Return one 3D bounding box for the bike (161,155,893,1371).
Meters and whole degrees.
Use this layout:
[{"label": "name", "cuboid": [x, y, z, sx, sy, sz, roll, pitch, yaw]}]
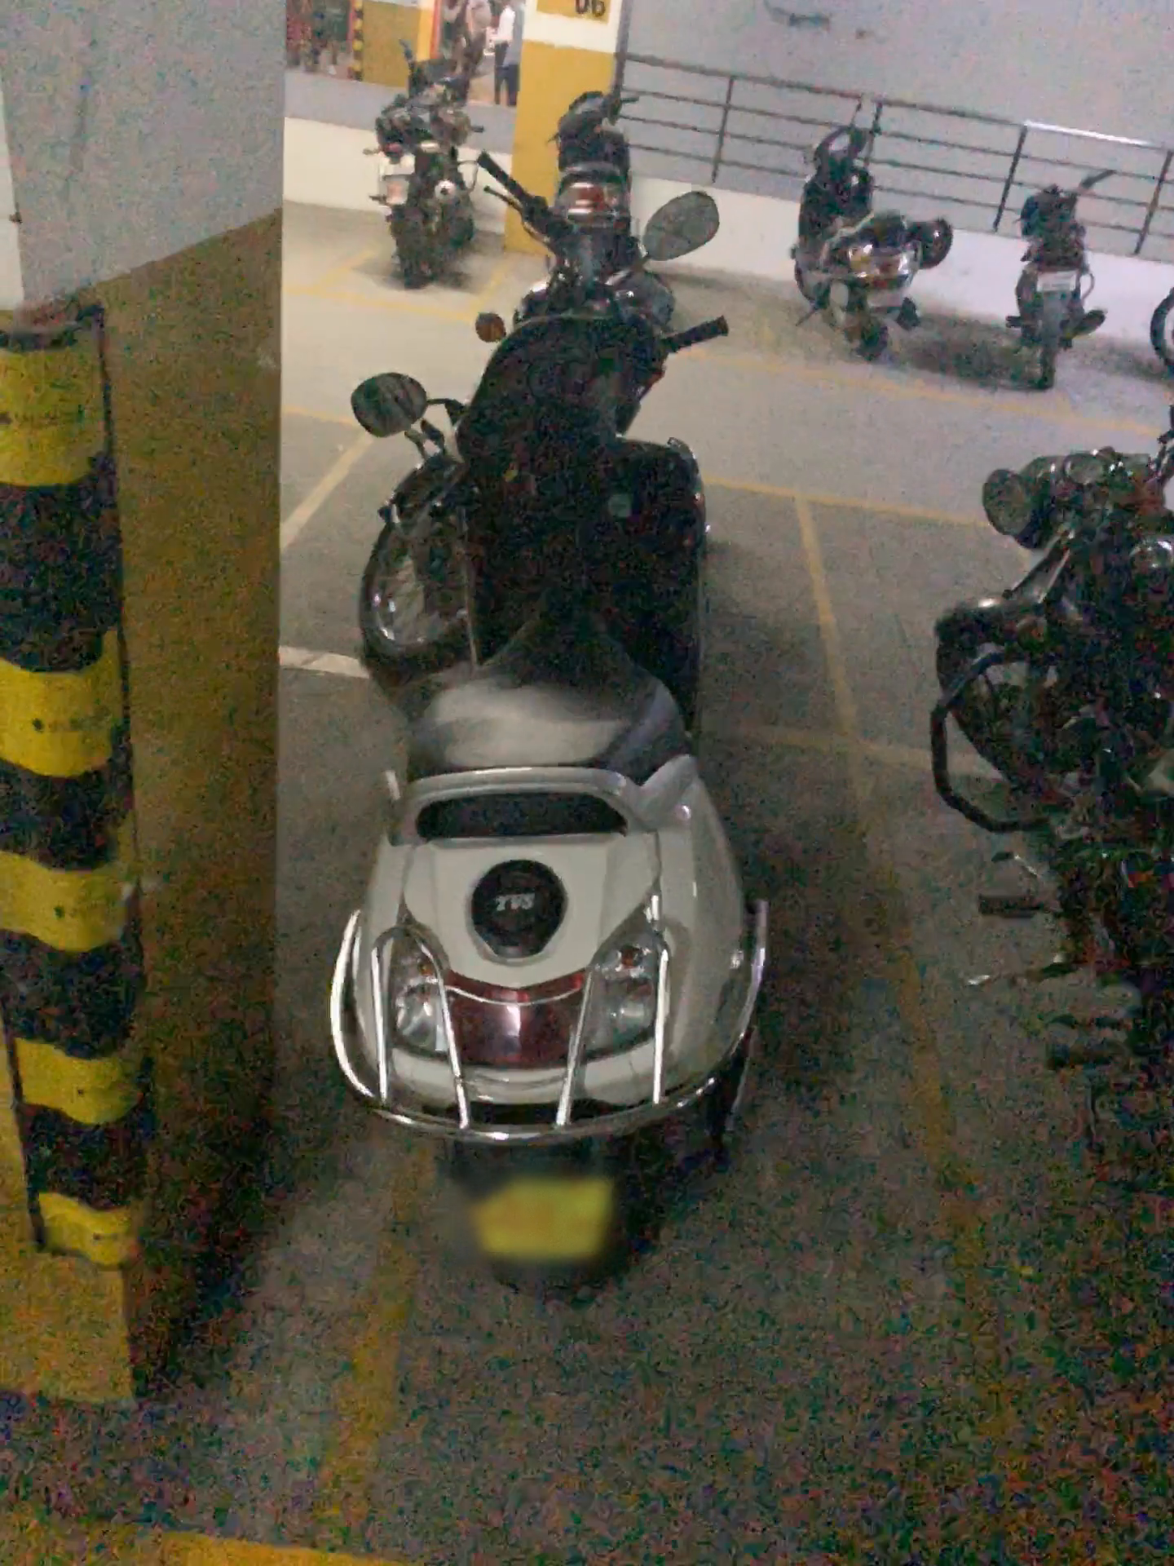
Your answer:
[{"label": "bike", "cuboid": [-0.101, -0.187, 1.967, 0.647, 1.158, 1.539, 8, 35, -3]}]
